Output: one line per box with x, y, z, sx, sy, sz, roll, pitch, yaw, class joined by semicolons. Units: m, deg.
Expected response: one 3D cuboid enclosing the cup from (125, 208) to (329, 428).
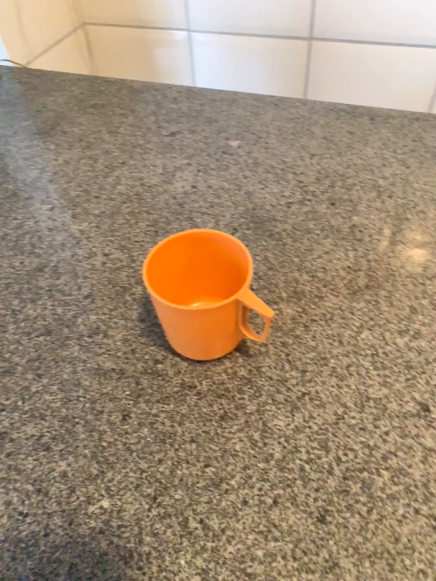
0.006;0.018;0.329;0.080;0.090;0.110;-37;56;-25;cup
